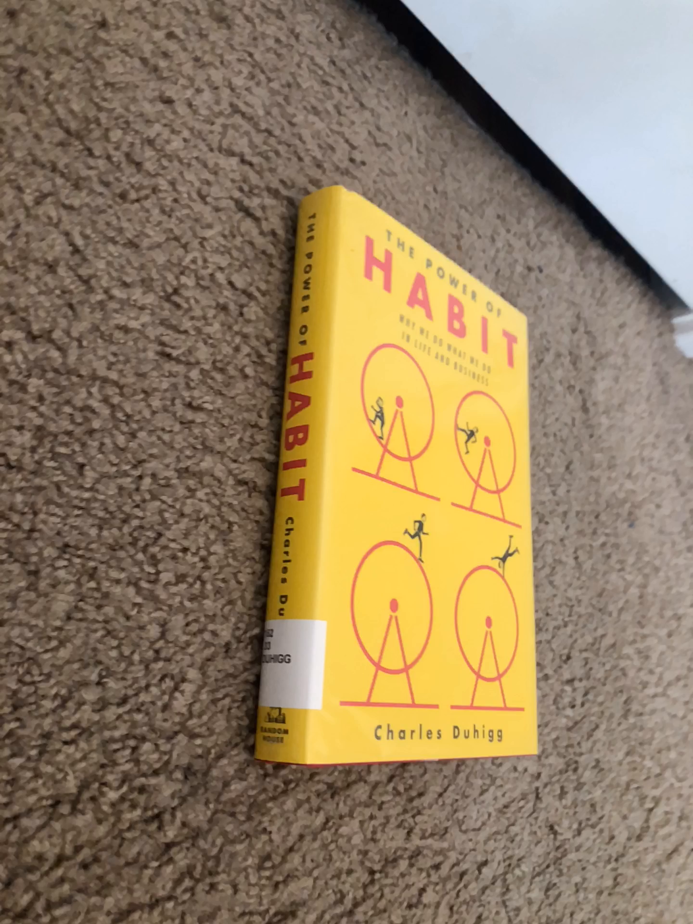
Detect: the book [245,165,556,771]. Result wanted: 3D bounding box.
[{"bbox_3d":[0.038,0.011,0.375,0.166,0.040,0.251,19,66,-43],"label":"book"}]
